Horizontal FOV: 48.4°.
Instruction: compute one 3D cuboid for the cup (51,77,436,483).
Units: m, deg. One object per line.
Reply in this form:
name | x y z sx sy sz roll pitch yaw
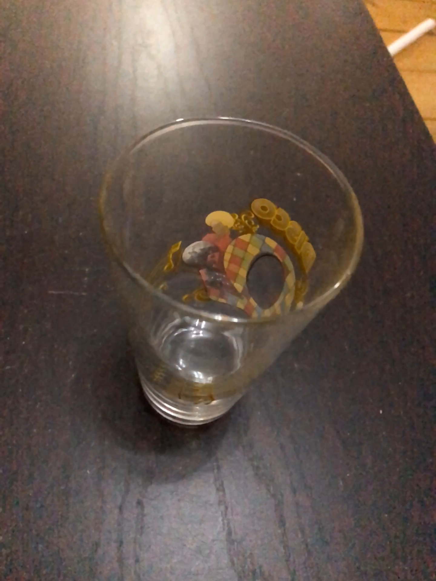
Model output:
cup | 0.003 0.003 0.185 0.080 0.110 0.080 4 58 -7
